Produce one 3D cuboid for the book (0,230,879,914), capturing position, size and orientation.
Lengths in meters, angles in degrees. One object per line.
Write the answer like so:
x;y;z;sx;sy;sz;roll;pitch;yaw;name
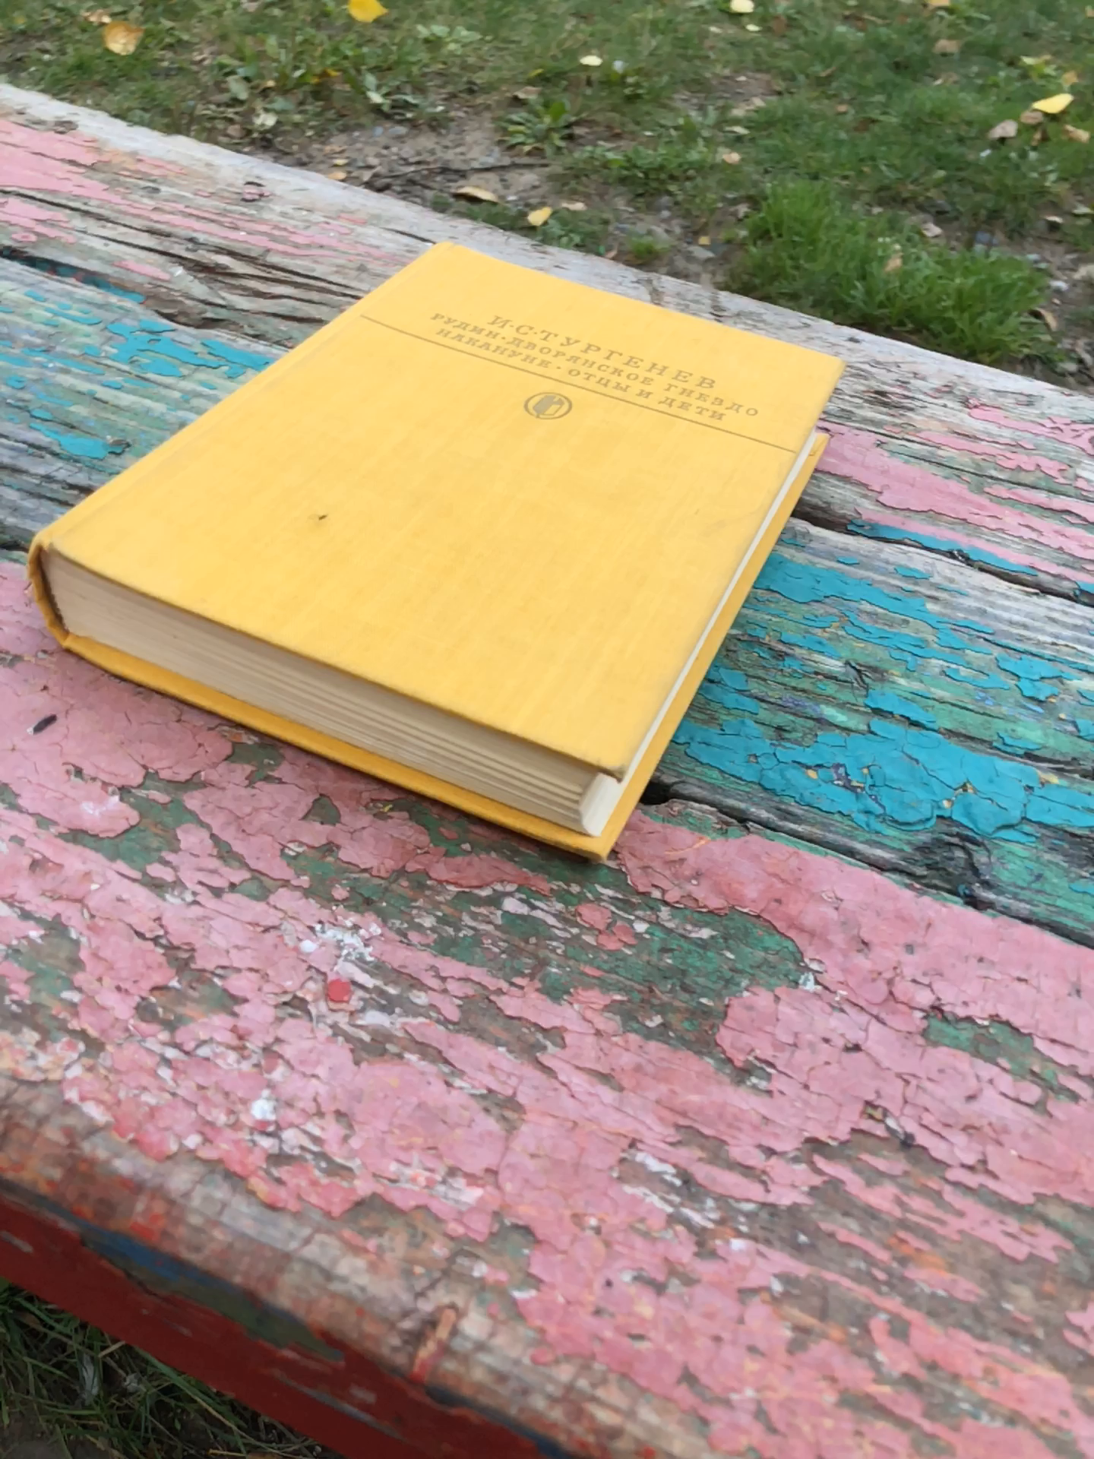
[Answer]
-0.010;-0.066;0.330;0.153;0.032;0.218;21;45;12;book
